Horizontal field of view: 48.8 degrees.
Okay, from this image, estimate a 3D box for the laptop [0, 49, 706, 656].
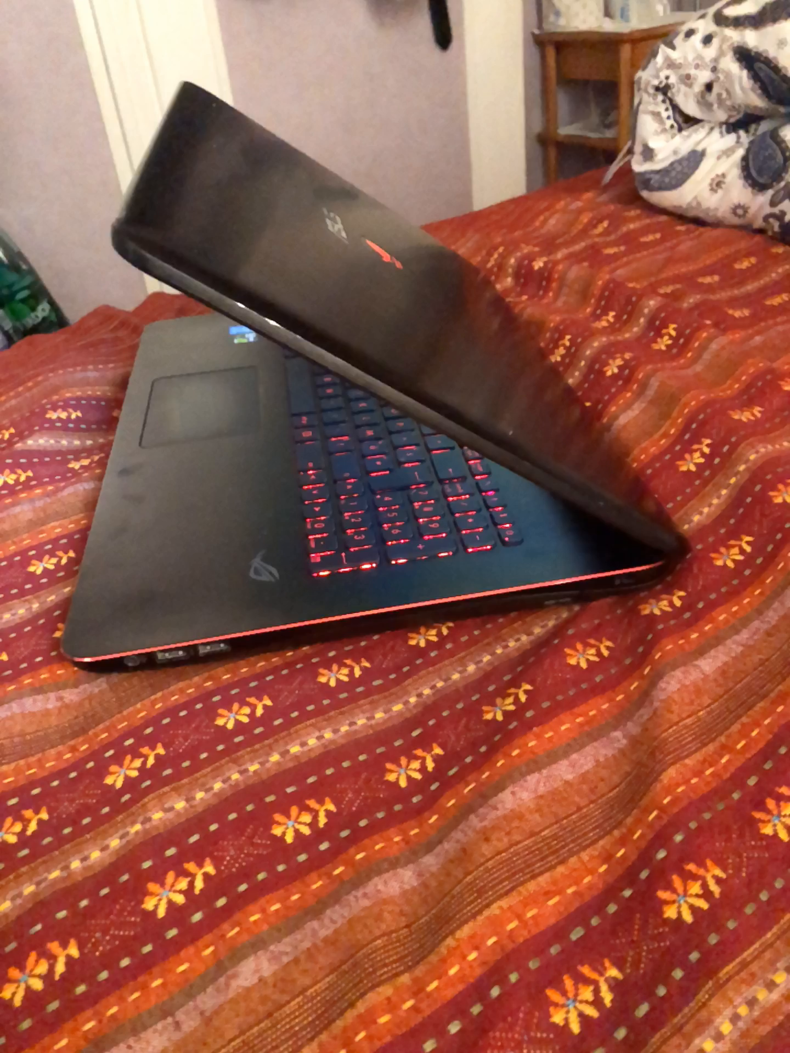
[{"bbox_3d":[-0.045,-0.145,0.499,0.267,0.168,0.401,-9,34,-4],"label":"laptop"}]
